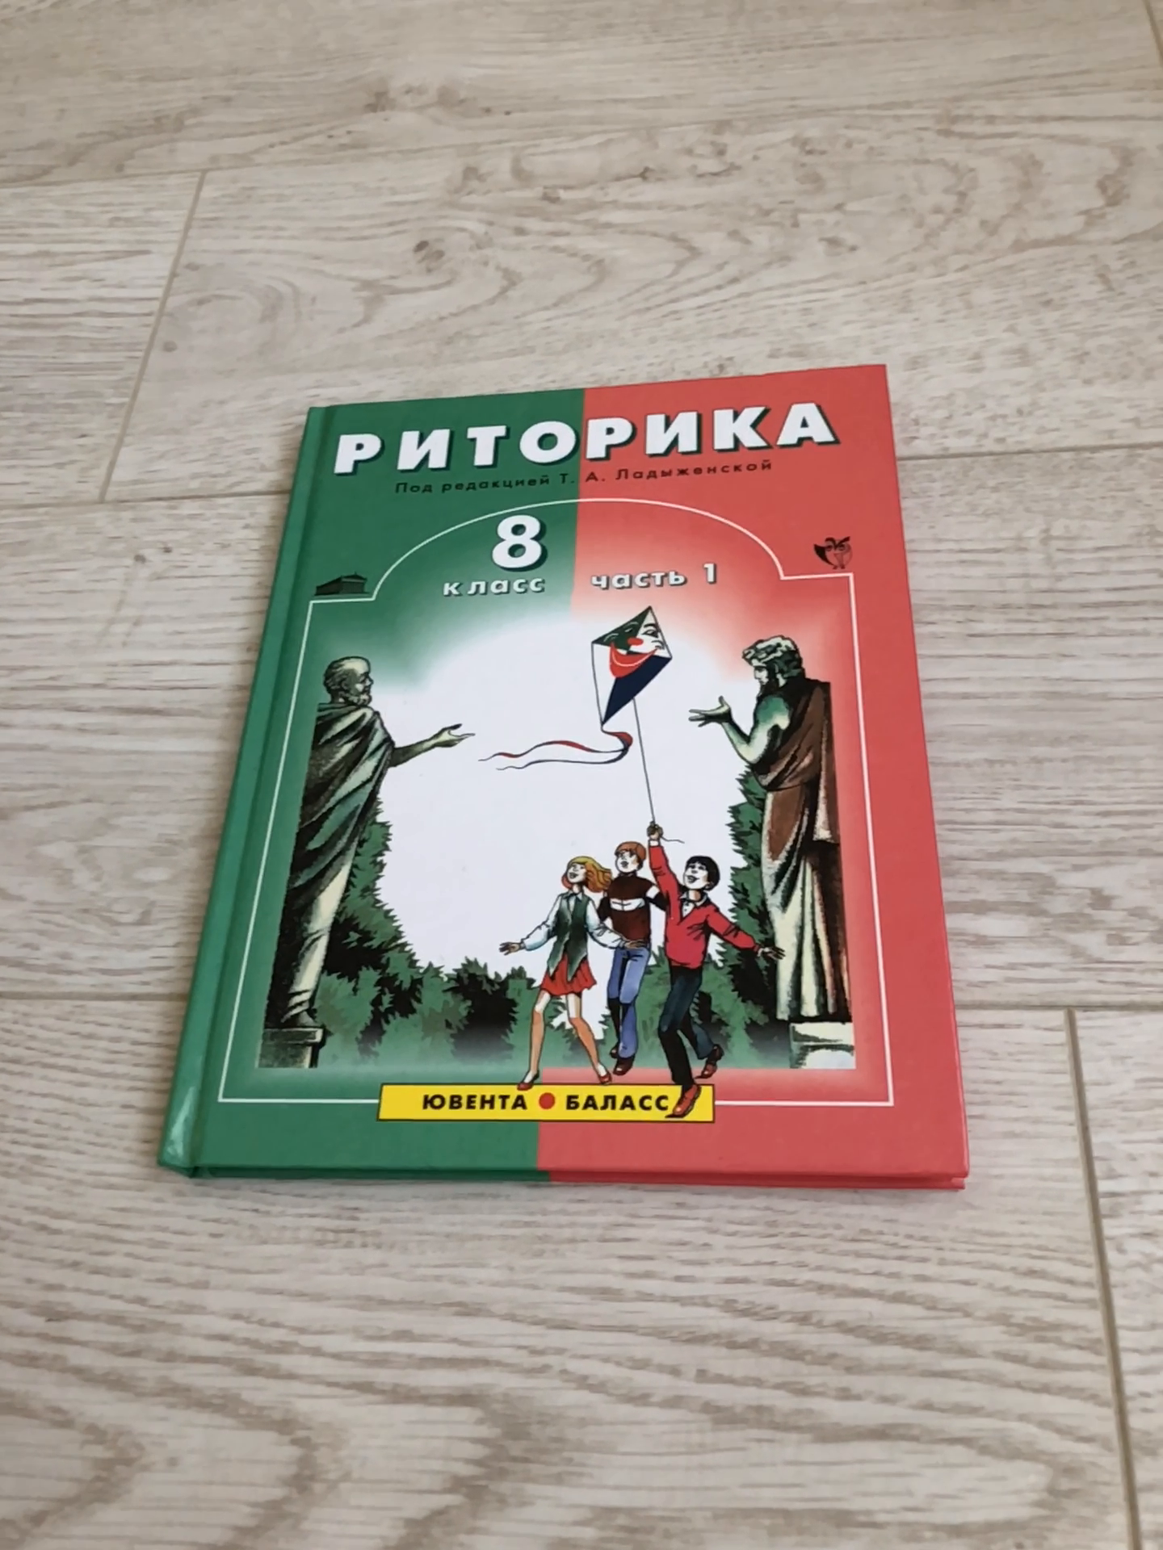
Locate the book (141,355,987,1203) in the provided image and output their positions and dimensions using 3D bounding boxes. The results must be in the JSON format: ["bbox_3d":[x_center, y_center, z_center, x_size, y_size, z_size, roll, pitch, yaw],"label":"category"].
[{"bbox_3d":[-0.002,-0.012,0.320,0.170,0.020,0.223,-2,60,8],"label":"book"}]
